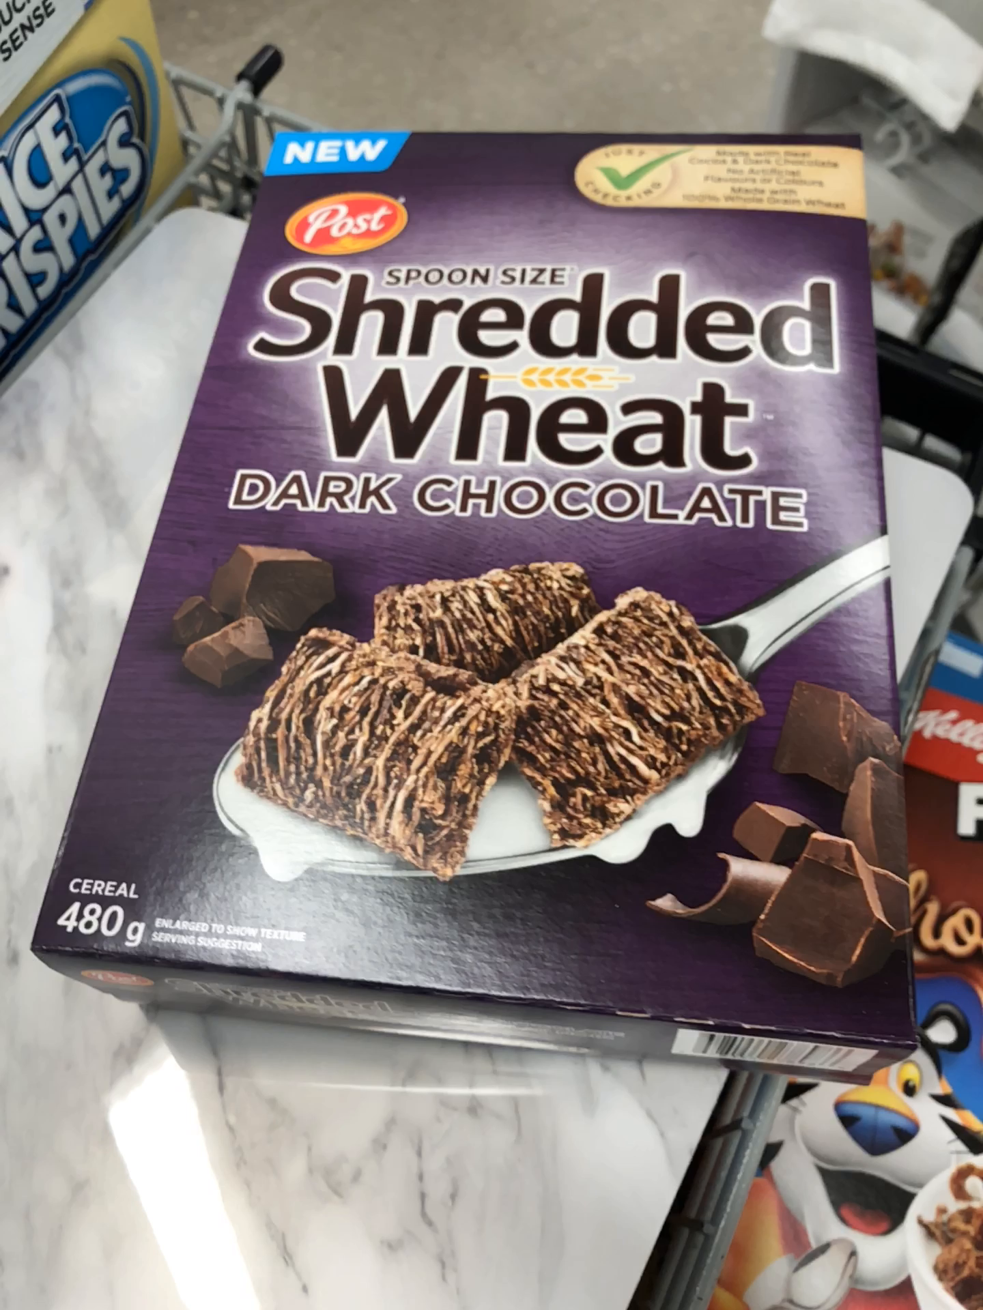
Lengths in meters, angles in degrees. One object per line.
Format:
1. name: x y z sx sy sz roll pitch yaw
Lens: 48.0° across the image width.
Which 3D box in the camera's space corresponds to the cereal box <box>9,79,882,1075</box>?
1. cereal box: 0.005 -0.042 0.332 0.190 0.070 0.290 5 64 5
